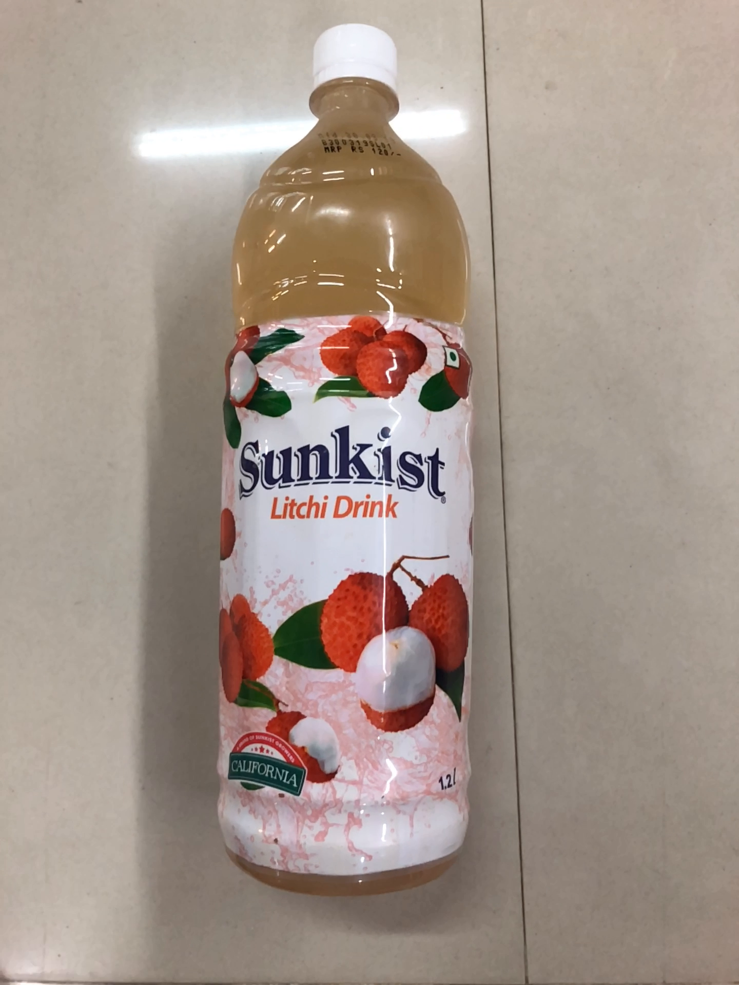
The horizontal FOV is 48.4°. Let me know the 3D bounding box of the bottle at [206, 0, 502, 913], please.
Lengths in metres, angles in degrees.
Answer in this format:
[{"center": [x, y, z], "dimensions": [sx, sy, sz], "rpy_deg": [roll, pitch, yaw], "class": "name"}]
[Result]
[{"center": [-0.002, -0.023, 0.294], "dimensions": [0.090, 0.080, 0.300], "rpy_deg": [0, 88, 5], "class": "bottle"}]
